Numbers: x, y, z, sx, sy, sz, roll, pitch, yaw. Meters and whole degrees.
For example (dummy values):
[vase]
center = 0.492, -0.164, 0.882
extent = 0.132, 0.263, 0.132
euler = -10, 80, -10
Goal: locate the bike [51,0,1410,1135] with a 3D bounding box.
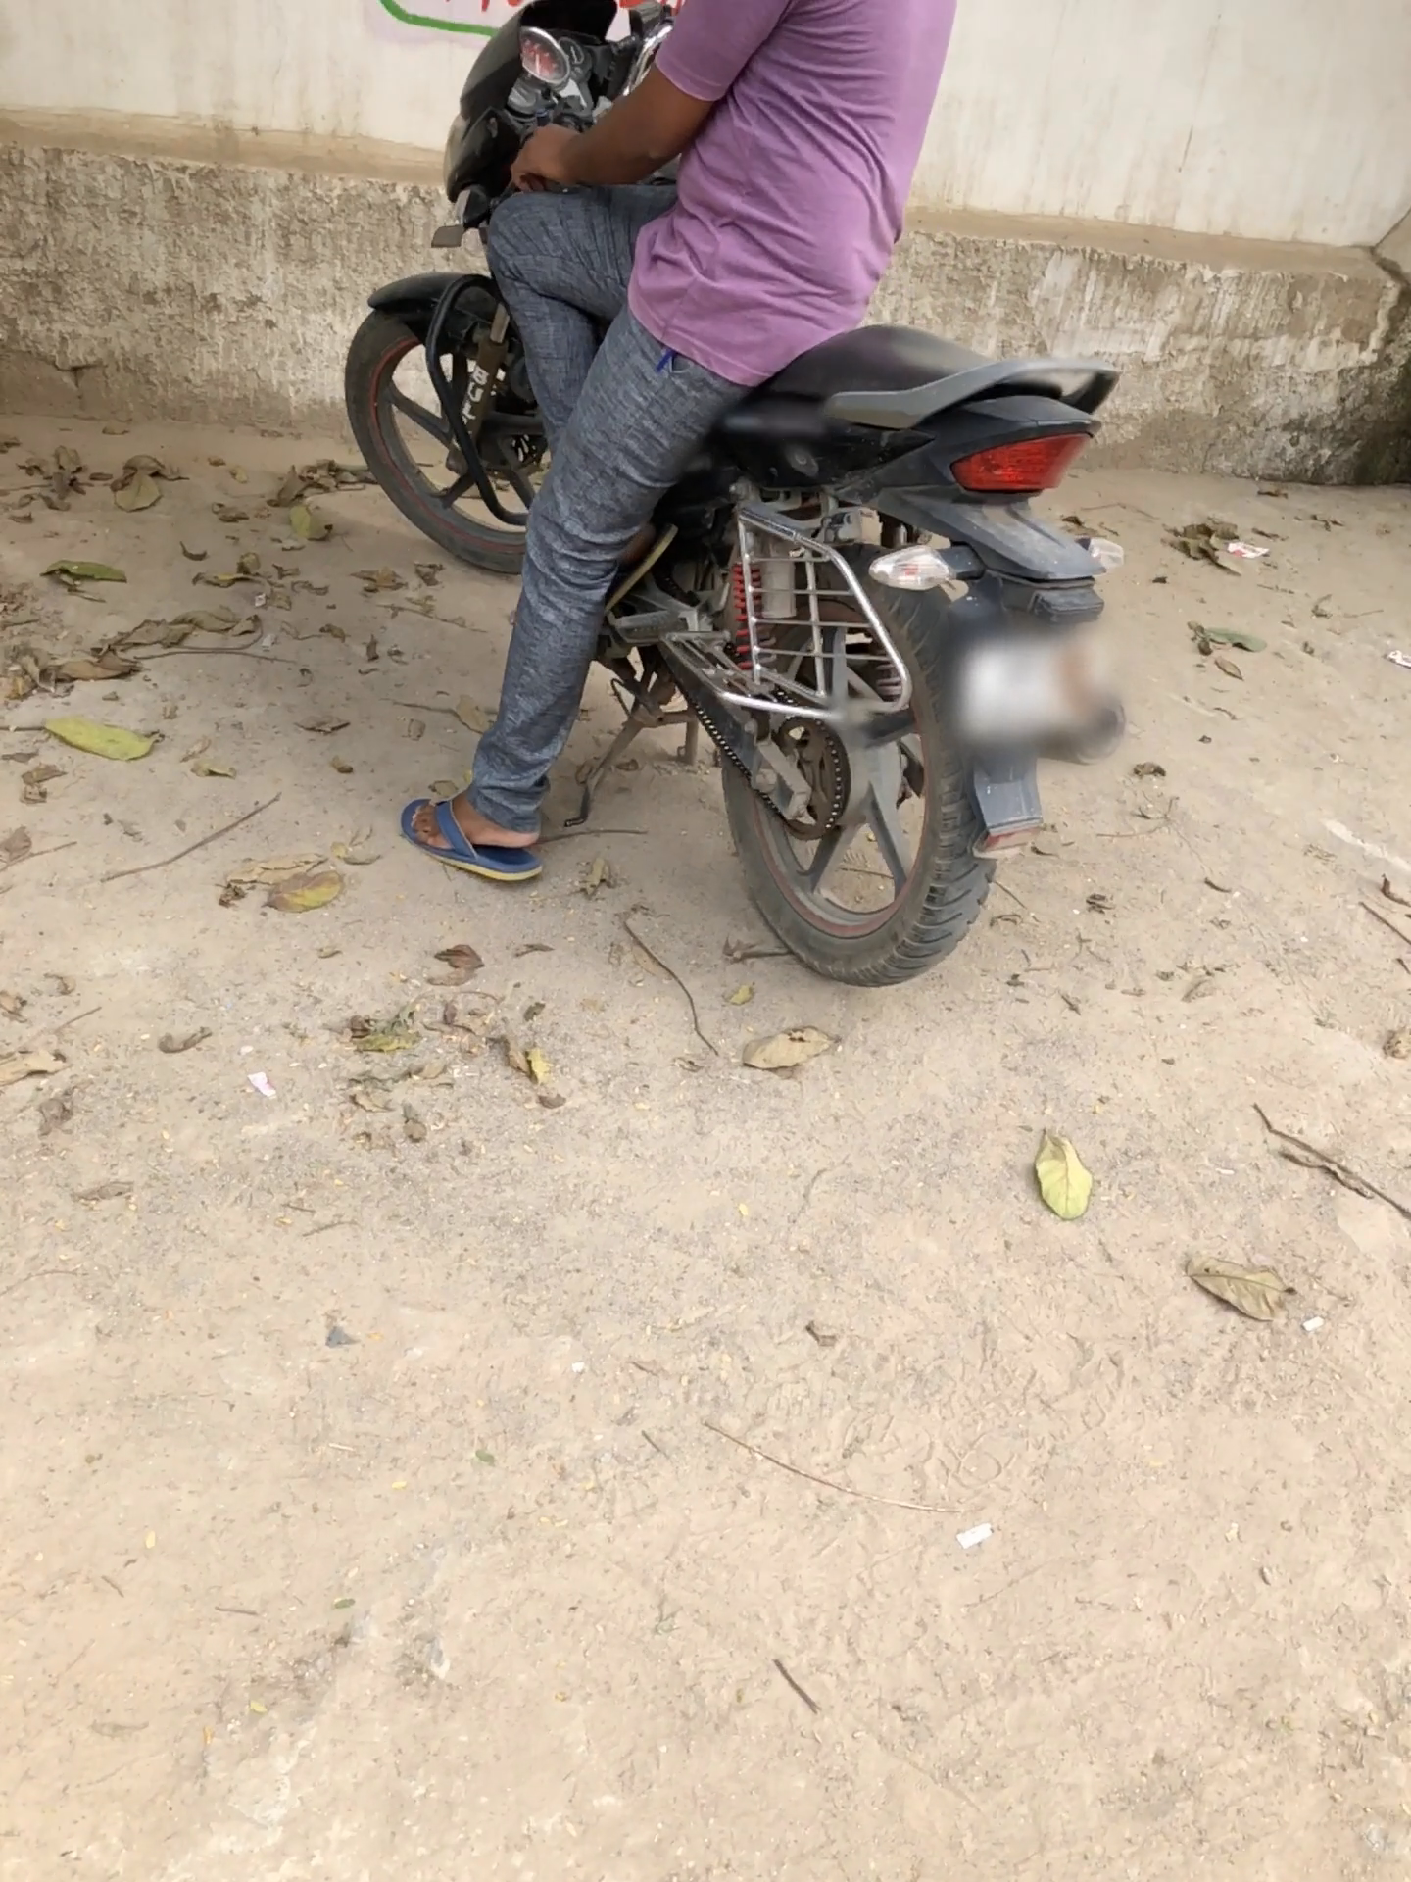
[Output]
[bike]
center = -0.177, -0.849, 2.371
extent = 0.827, 1.189, 1.842
euler = -17, 43, -33
